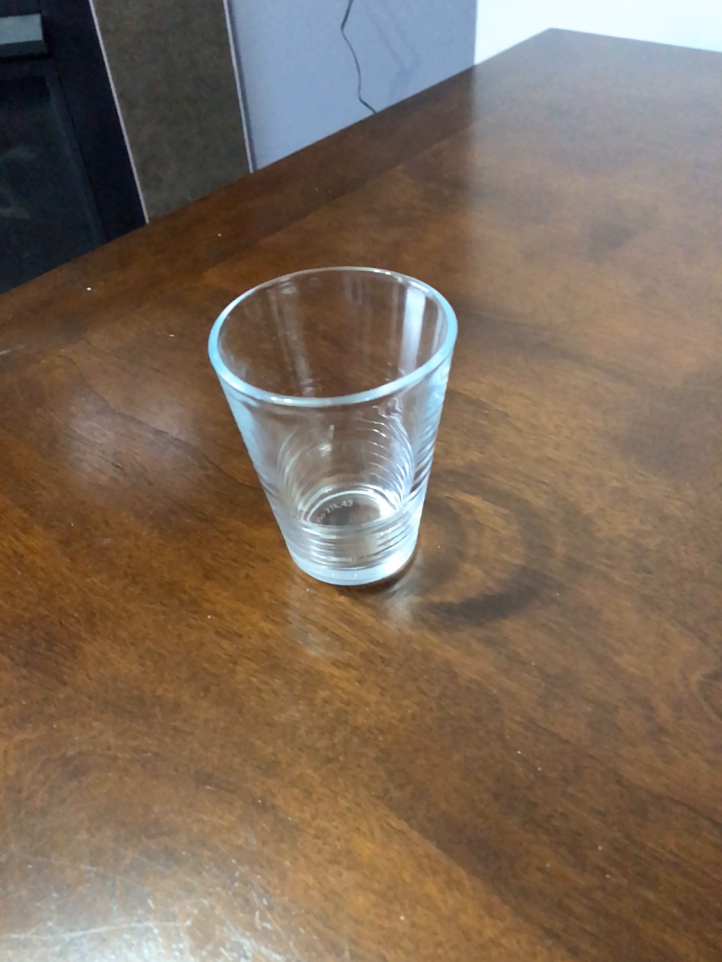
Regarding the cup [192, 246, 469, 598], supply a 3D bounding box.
[{"bbox_3d":[-0.008,-0.020,0.290,0.080,0.100,0.070,-4,42,0],"label":"cup"}]
